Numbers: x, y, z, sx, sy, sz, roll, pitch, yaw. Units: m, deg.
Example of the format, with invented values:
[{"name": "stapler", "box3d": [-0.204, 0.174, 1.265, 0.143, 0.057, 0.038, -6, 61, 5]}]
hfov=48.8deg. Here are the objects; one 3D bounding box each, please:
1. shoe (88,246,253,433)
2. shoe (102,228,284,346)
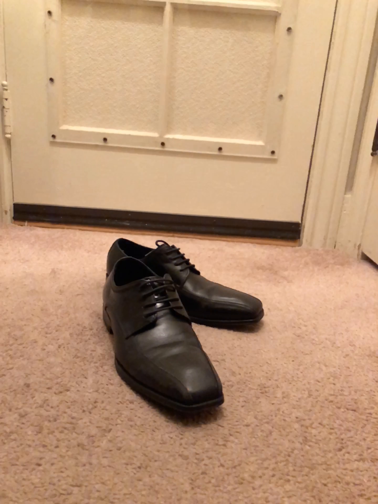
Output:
[{"name": "shoe", "box3d": [-0.047, 0.089, 0.560, 0.110, 0.108, 0.284, -4, 20, -27]}, {"name": "shoe", "box3d": [0.000, 0.048, 0.741, 0.297, 0.110, 0.115, 13, 19, 26]}]
